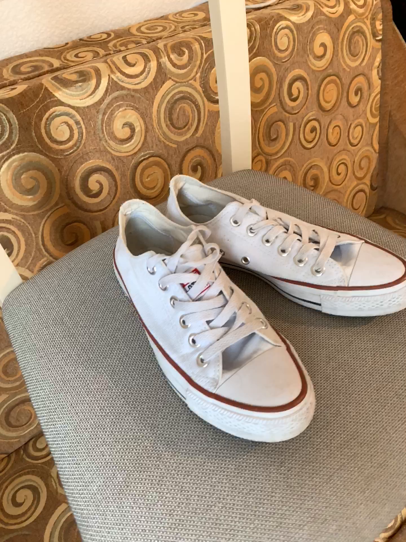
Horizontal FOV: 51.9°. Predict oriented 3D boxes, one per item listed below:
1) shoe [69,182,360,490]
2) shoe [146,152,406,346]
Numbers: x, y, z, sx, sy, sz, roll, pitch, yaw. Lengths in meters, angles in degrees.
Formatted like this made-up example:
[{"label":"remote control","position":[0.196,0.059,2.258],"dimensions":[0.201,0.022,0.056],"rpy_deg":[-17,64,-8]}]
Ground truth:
[{"label":"shoe","position":[-0.006,0.031,0.316],"dimensions":[0.090,0.060,0.221],"rpy_deg":[-29,57,-22]},{"label":"shoe","position":[0.071,-0.027,0.367],"dimensions":[0.220,0.060,0.090],"rpy_deg":[20,54,16]}]
